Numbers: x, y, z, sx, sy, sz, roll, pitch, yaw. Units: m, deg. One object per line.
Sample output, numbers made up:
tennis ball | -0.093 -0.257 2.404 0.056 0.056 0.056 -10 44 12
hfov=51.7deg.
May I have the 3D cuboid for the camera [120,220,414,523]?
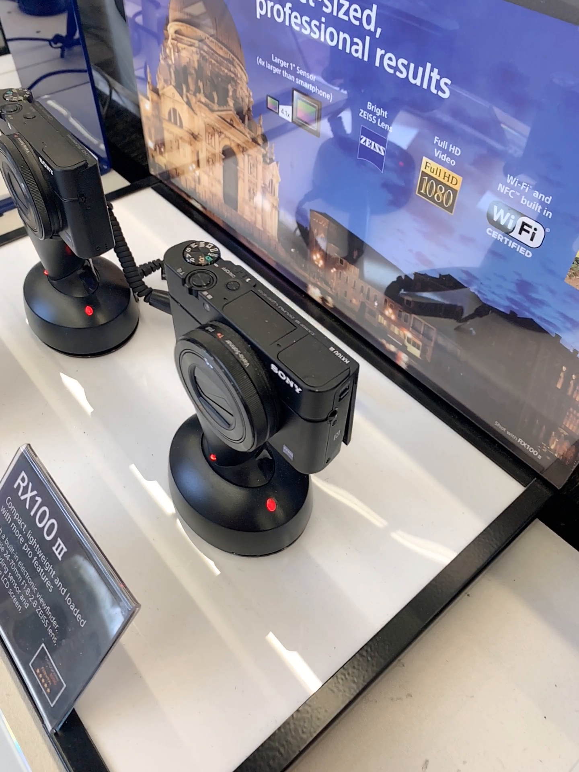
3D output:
camera | -0.013 -0.010 0.248 0.050 0.059 0.111 -35 59 -27
